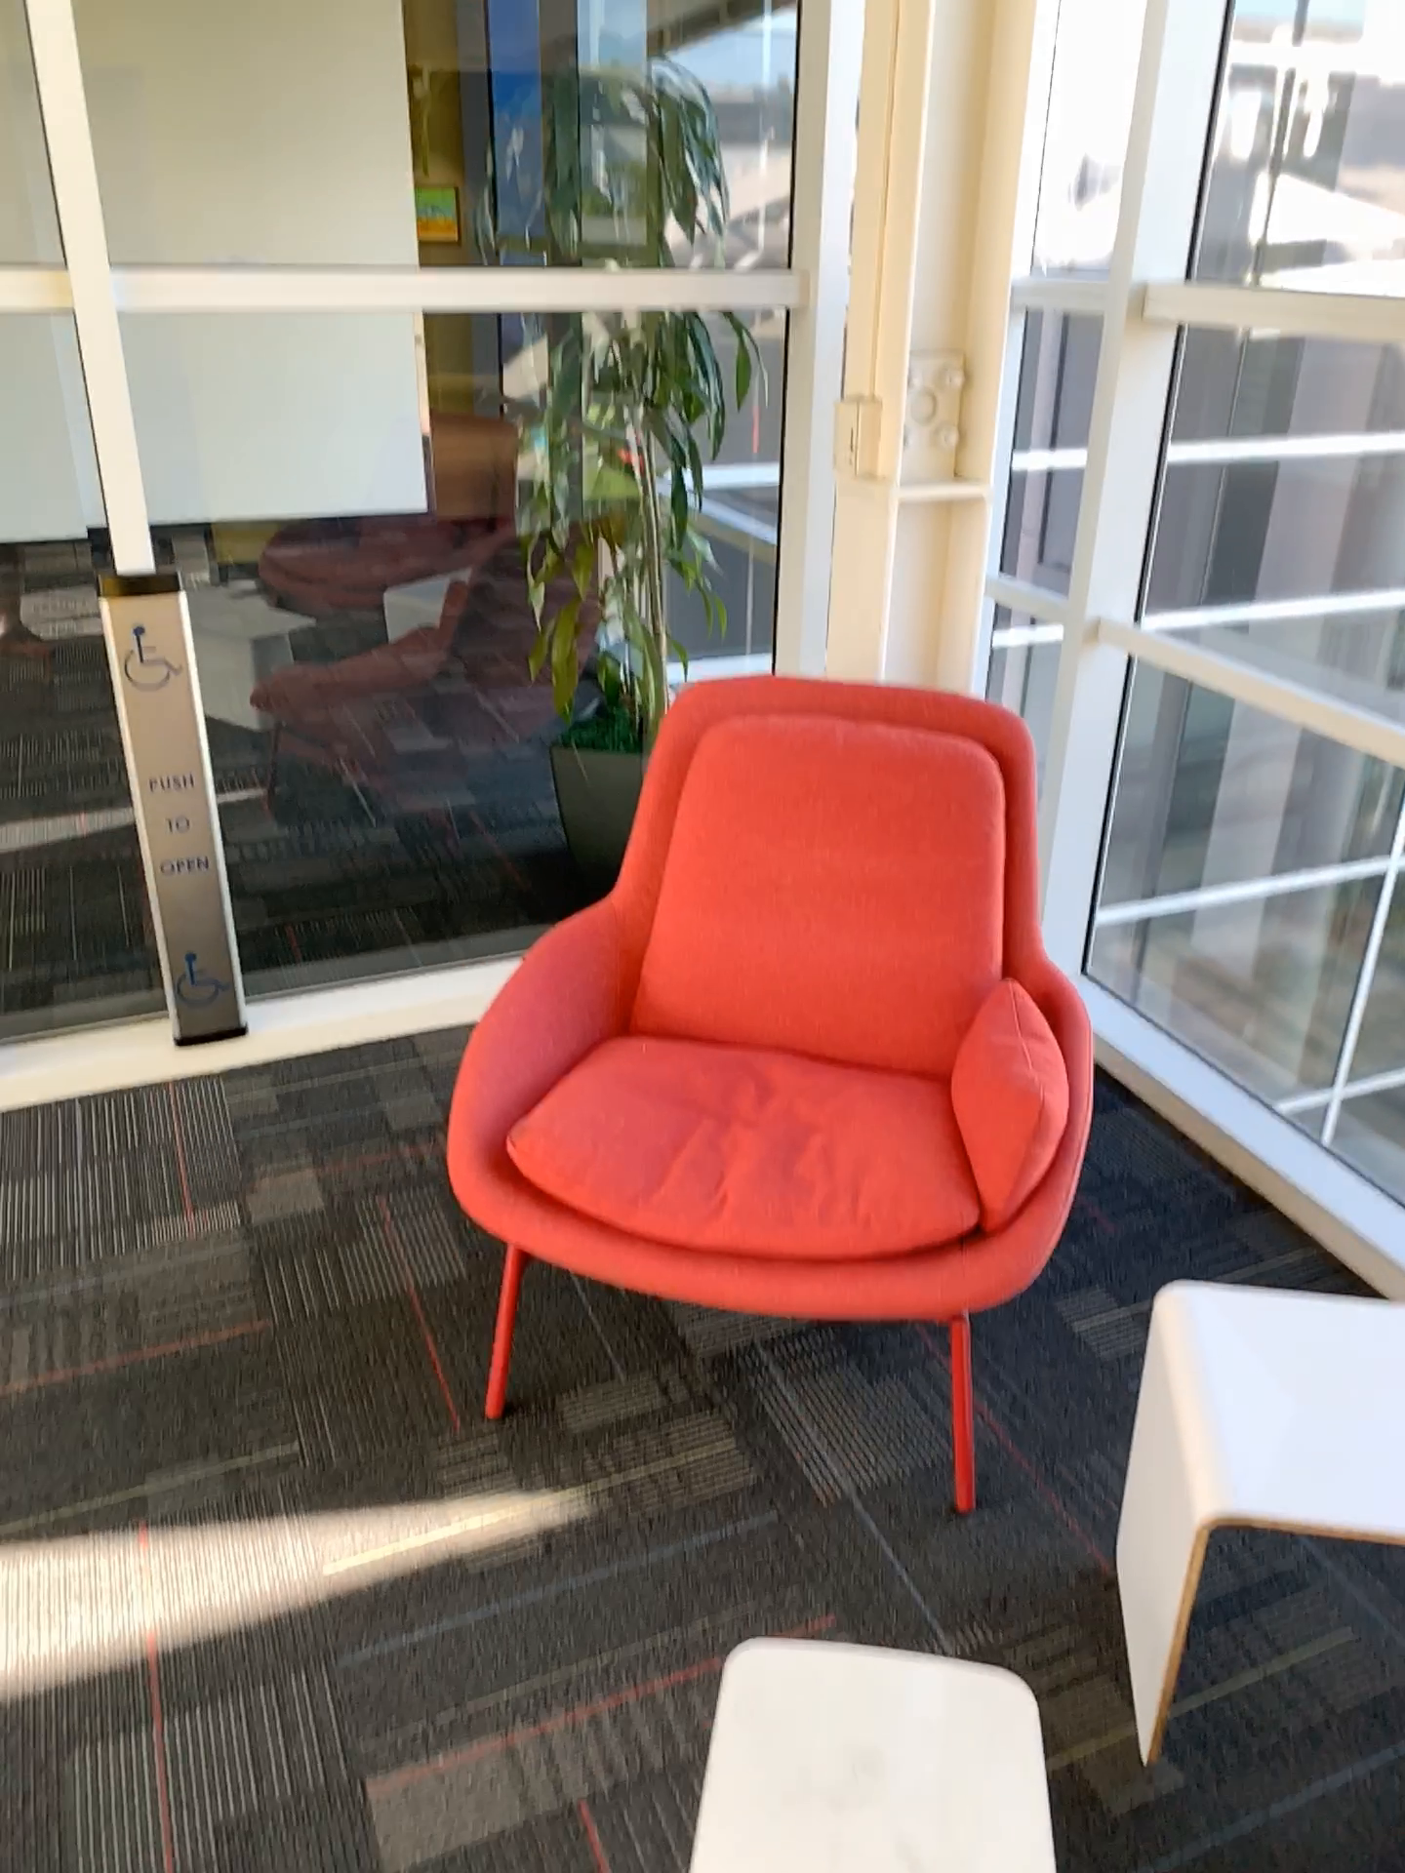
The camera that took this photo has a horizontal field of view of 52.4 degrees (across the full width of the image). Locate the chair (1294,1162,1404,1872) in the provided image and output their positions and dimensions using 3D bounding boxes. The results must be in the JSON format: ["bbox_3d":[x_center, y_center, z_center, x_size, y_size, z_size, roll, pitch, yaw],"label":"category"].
[{"bbox_3d":[0.983,0.873,0.859,0.921,0.994,0.874,8,27,14],"label":"chair"}]

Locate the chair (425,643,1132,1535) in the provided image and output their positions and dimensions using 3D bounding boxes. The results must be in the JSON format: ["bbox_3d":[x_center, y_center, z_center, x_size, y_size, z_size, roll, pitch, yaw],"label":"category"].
[{"bbox_3d":[0.157,0.181,2.321,0.871,1.054,0.824,7,27,12],"label":"chair"}]
